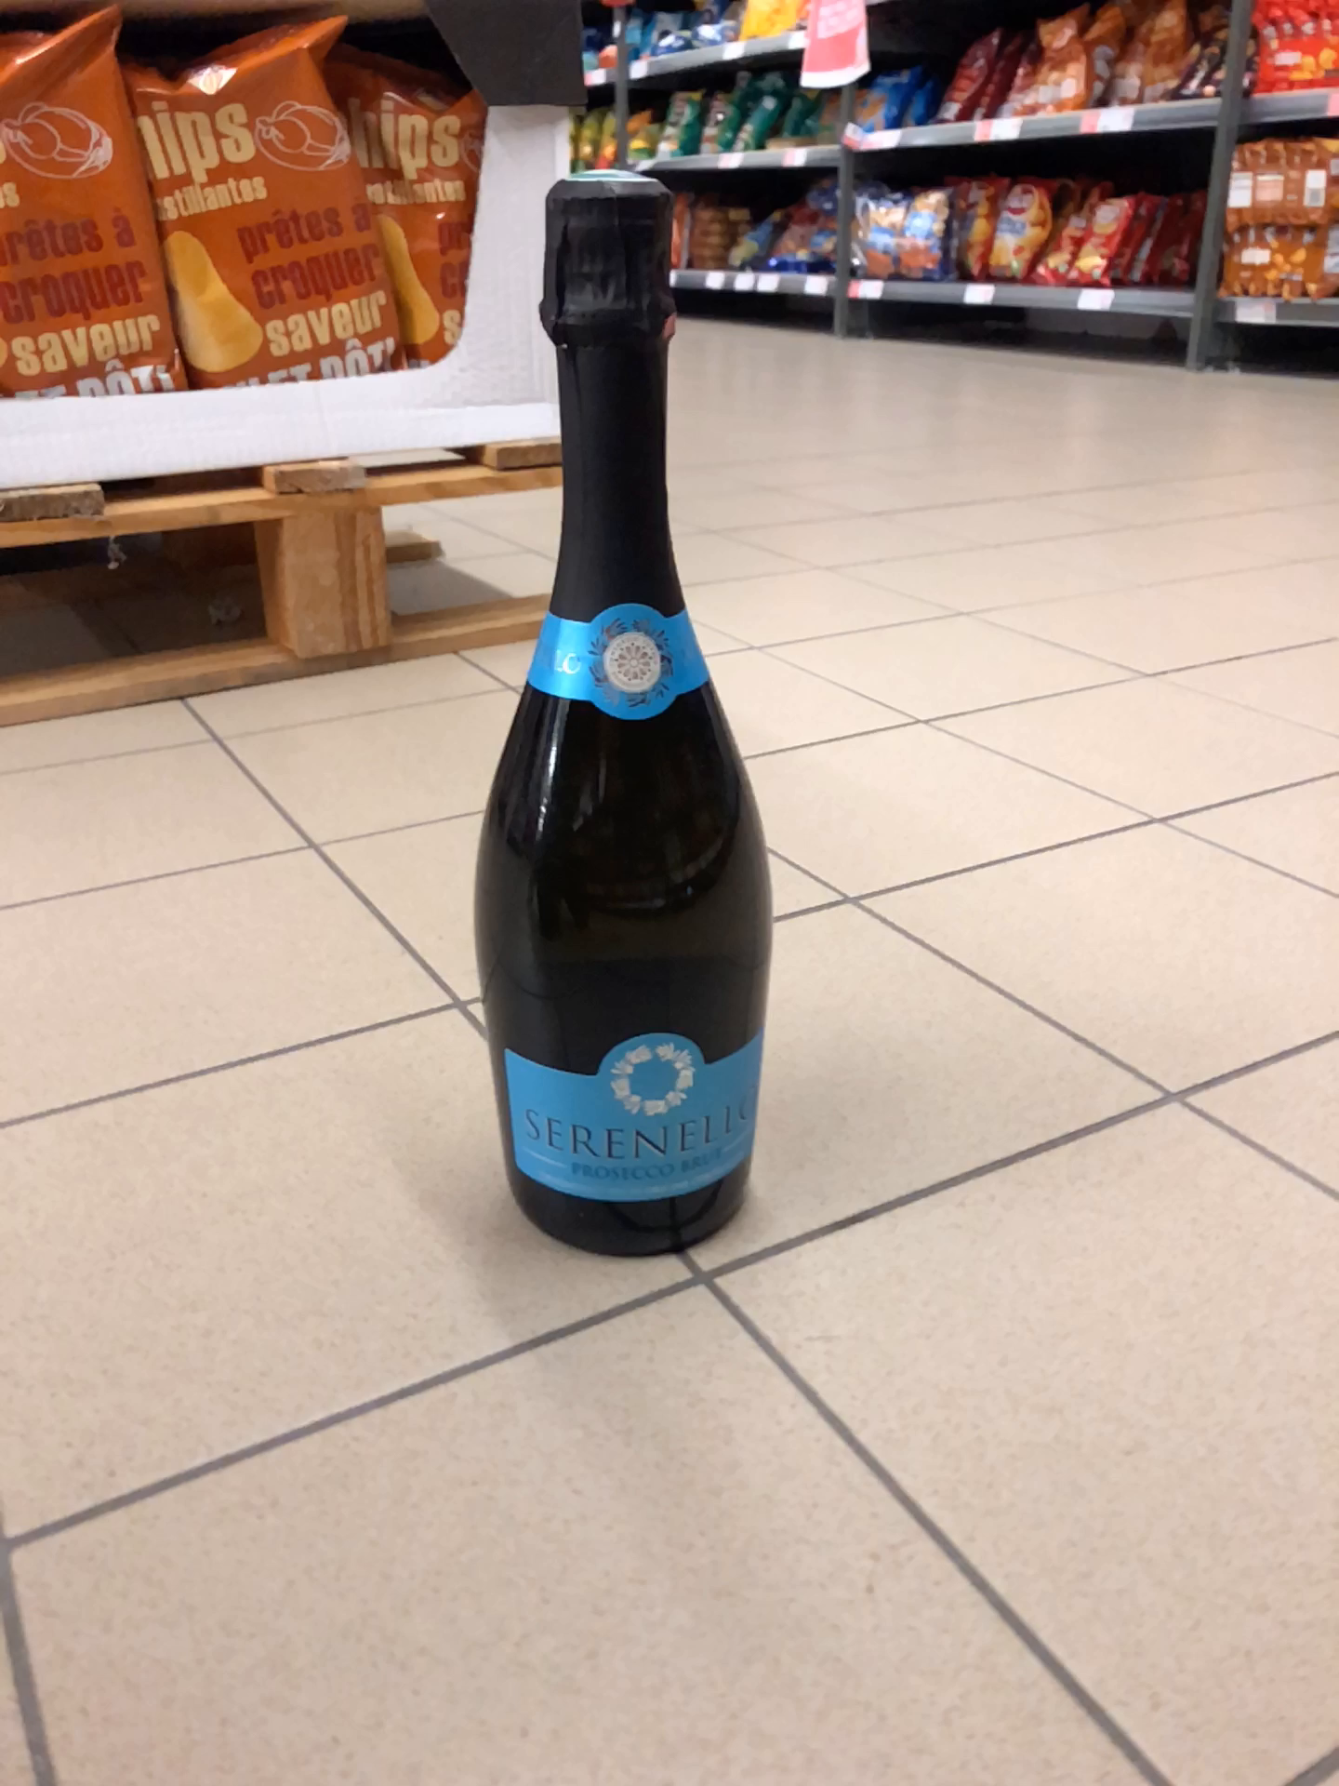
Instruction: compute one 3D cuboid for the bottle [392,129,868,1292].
[{"bbox_3d":[-0.012,-0.044,0.414,0.100,0.298,0.090,-6,24,-11],"label":"bottle"}]
